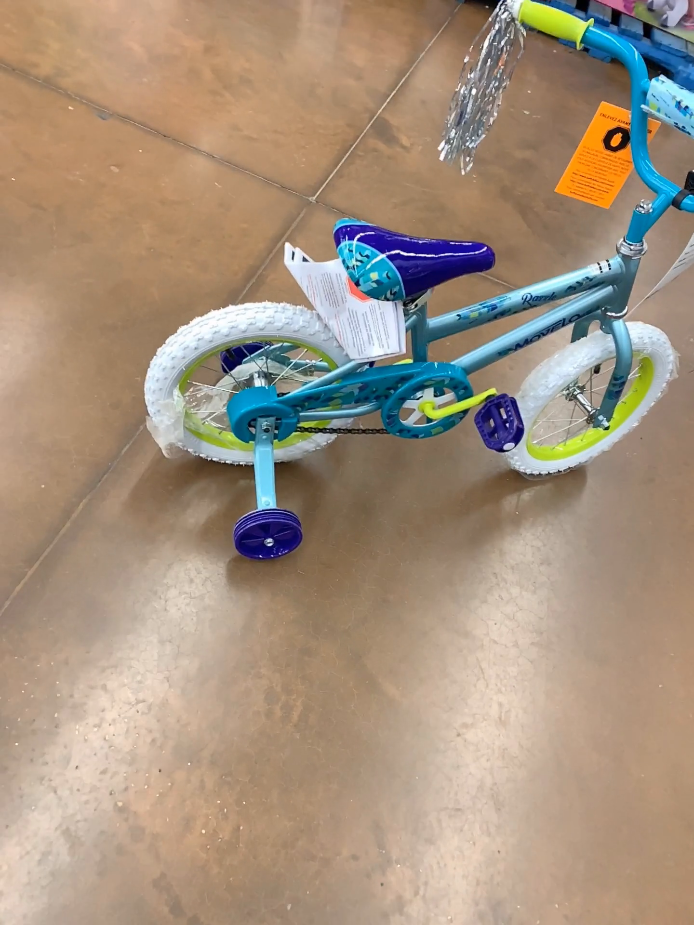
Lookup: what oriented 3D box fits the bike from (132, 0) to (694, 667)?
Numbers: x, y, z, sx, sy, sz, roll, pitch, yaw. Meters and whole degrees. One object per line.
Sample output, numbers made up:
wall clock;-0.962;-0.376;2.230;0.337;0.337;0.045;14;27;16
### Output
bike;0.195;-0.207;0.967;0.860;0.639;0.624;-5;55;-21
